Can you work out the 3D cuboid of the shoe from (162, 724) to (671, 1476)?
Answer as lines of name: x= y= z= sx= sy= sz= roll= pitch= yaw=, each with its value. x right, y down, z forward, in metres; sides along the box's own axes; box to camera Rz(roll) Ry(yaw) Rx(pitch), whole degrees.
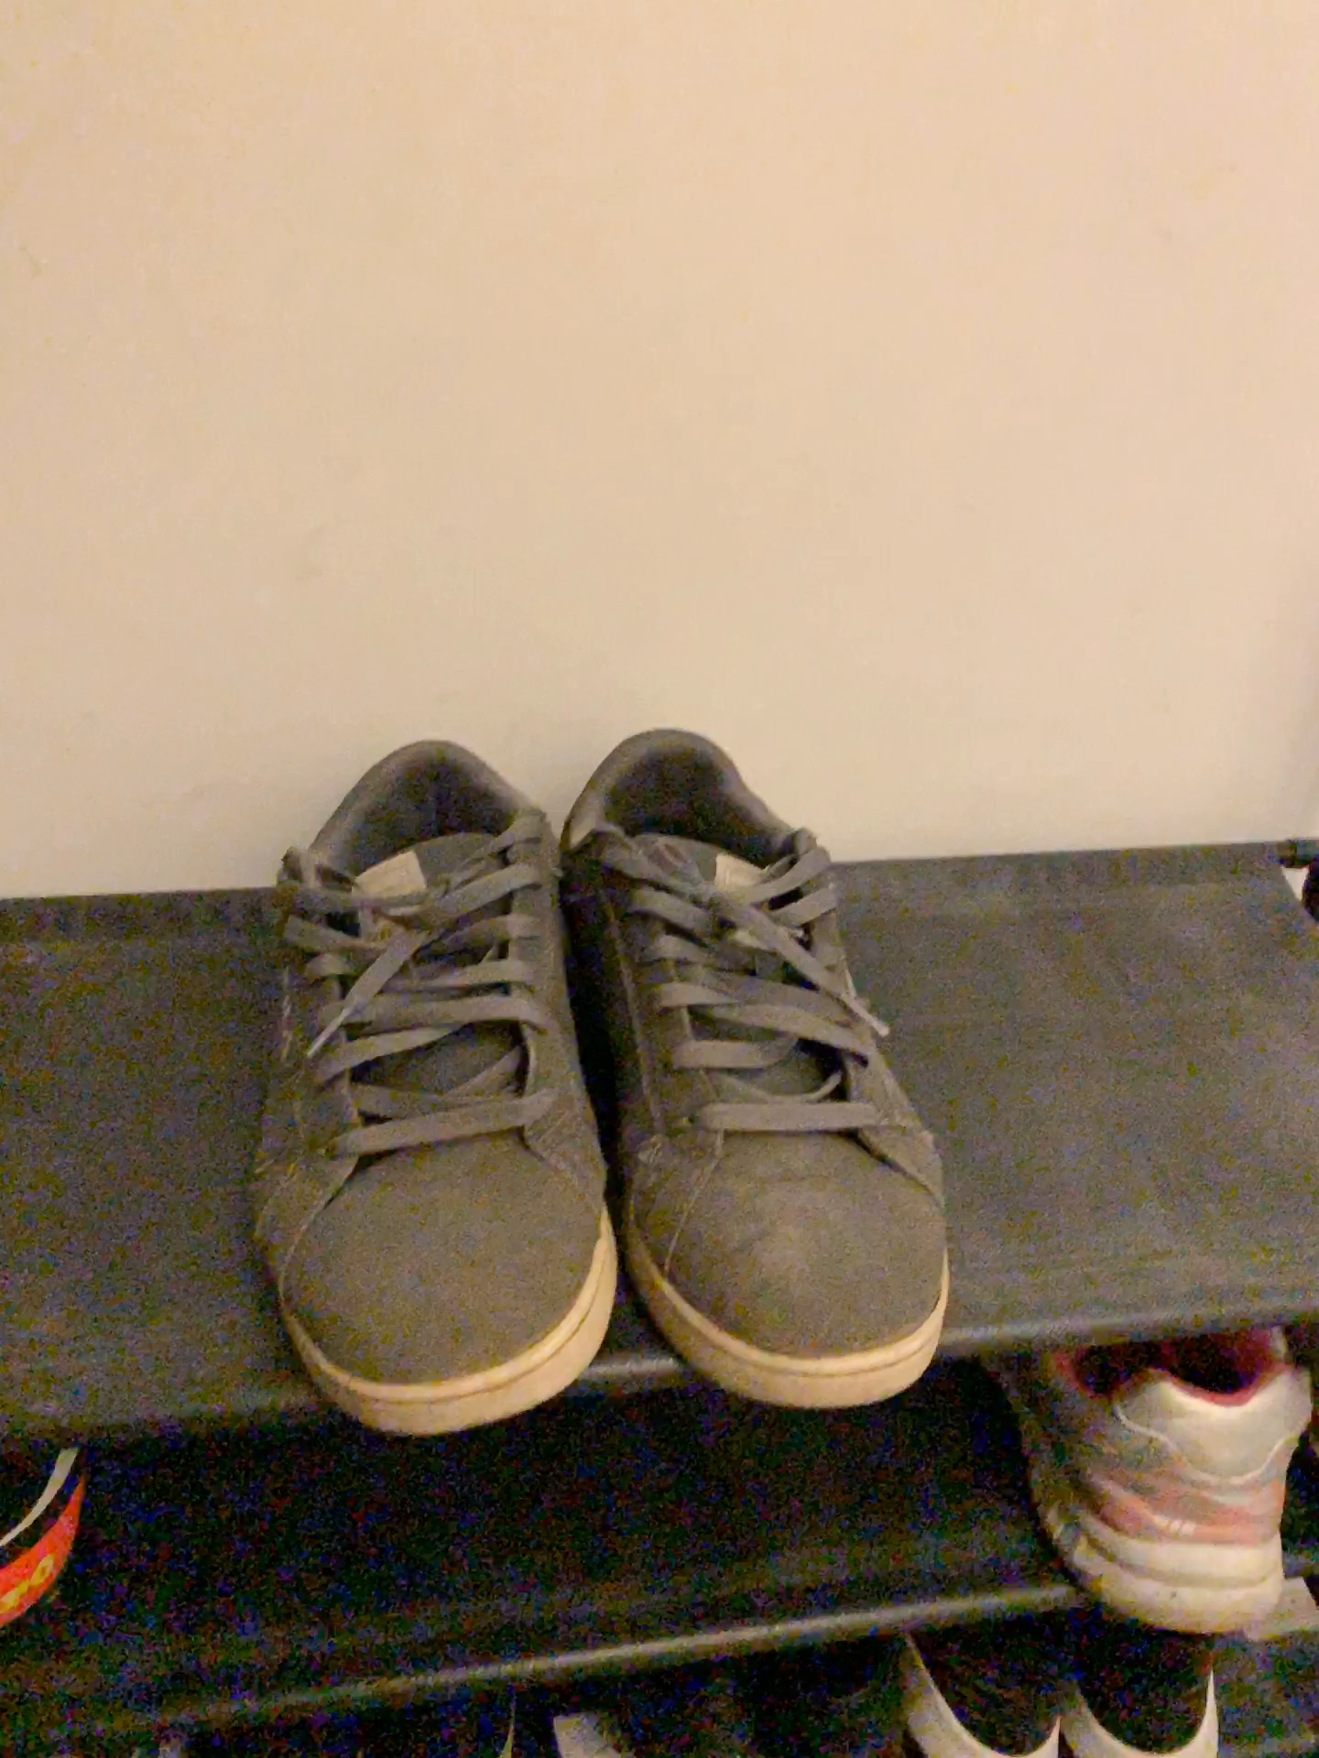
shoe: x=-0.076 y=0.047 z=0.458 sx=0.120 sy=0.079 sz=0.272 roll=-4 pitch=33 yaw=-7

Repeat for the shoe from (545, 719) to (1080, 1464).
shoe: x=0.030 y=0.047 z=0.496 sx=0.120 sy=0.079 sz=0.303 roll=-4 pitch=33 yaw=-7
